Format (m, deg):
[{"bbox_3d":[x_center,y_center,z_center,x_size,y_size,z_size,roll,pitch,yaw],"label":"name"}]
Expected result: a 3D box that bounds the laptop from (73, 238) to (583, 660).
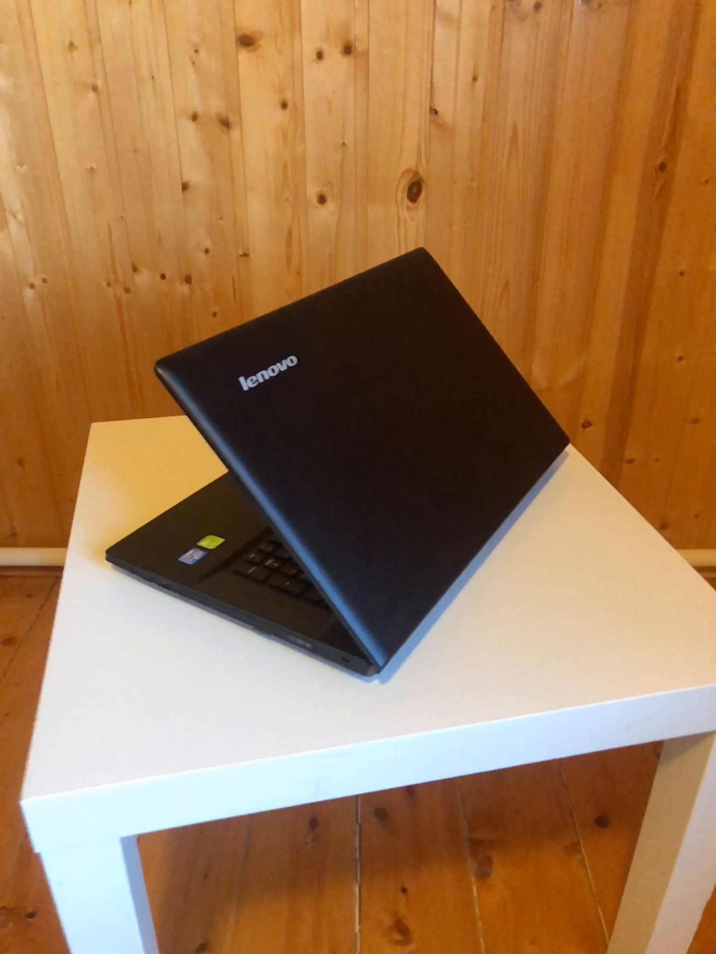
[{"bbox_3d":[0.000,-0.069,0.708,0.260,0.179,0.390,16,34,28],"label":"laptop"}]
